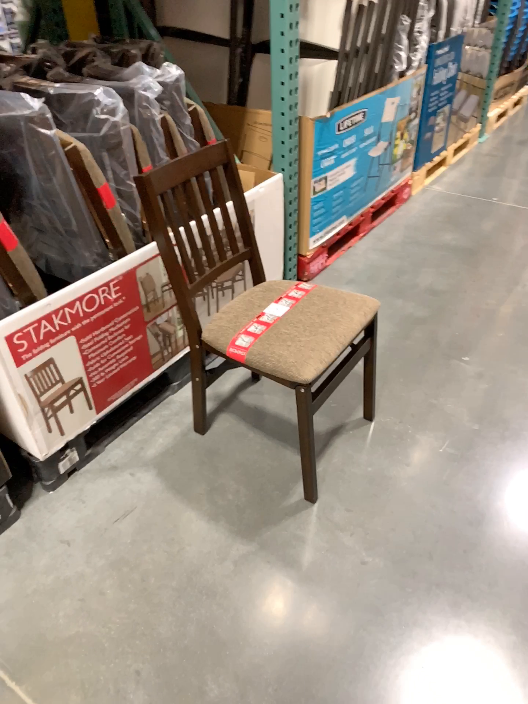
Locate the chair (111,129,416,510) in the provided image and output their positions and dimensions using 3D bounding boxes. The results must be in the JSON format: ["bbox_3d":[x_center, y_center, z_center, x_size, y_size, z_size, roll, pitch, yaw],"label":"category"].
[{"bbox_3d":[0.011,-0.096,1.497,0.573,0.837,0.422,21,43,27],"label":"chair"}]
